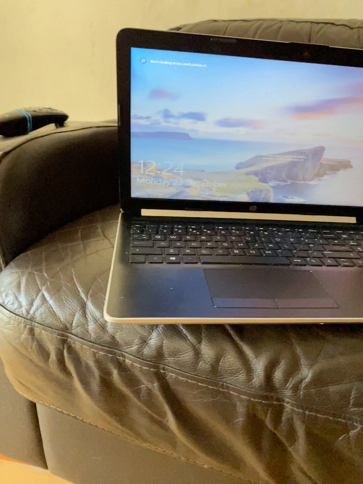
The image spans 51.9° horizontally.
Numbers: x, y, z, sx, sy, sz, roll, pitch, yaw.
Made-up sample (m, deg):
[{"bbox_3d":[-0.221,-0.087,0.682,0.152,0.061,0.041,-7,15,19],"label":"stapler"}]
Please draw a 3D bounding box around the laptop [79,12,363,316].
[{"bbox_3d":[0.113,-0.084,0.390,0.371,0.212,0.238,1,24,-6],"label":"laptop"}]
